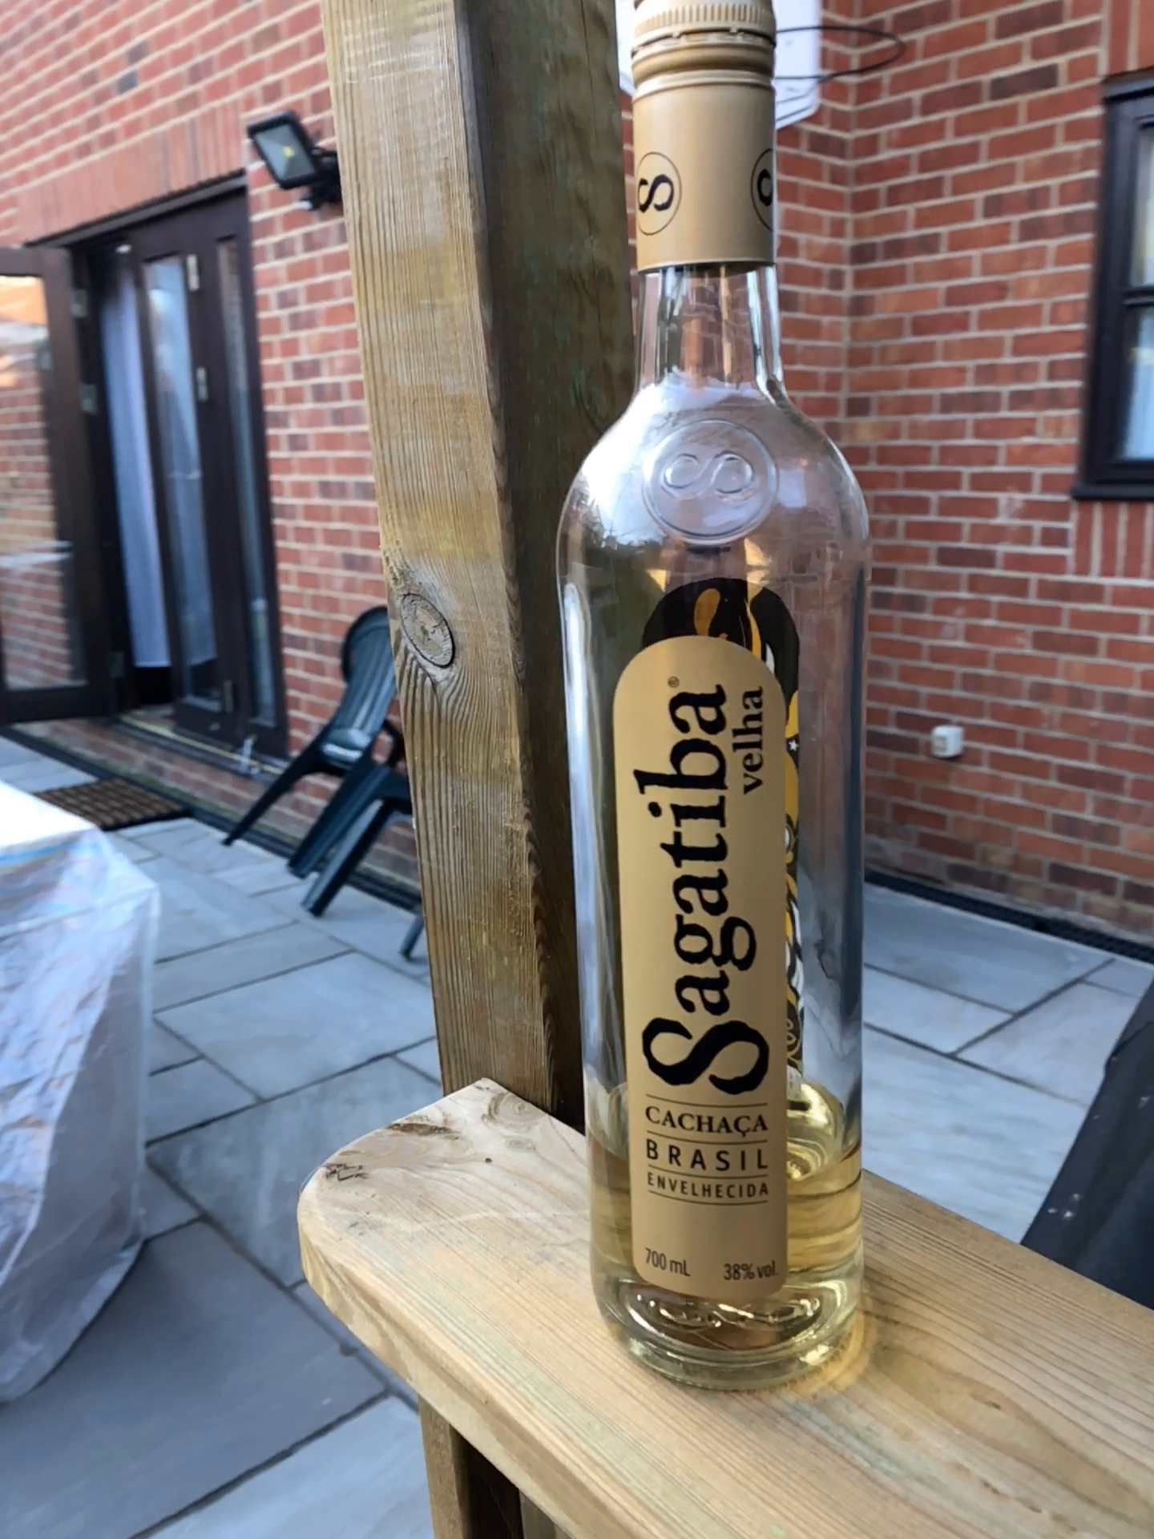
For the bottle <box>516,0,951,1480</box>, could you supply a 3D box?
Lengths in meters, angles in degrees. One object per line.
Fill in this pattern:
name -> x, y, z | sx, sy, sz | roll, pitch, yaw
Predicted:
bottle -> 0.038, -0.005, 0.298 | 0.080, 0.329, 0.060 | 3, 13, 16
